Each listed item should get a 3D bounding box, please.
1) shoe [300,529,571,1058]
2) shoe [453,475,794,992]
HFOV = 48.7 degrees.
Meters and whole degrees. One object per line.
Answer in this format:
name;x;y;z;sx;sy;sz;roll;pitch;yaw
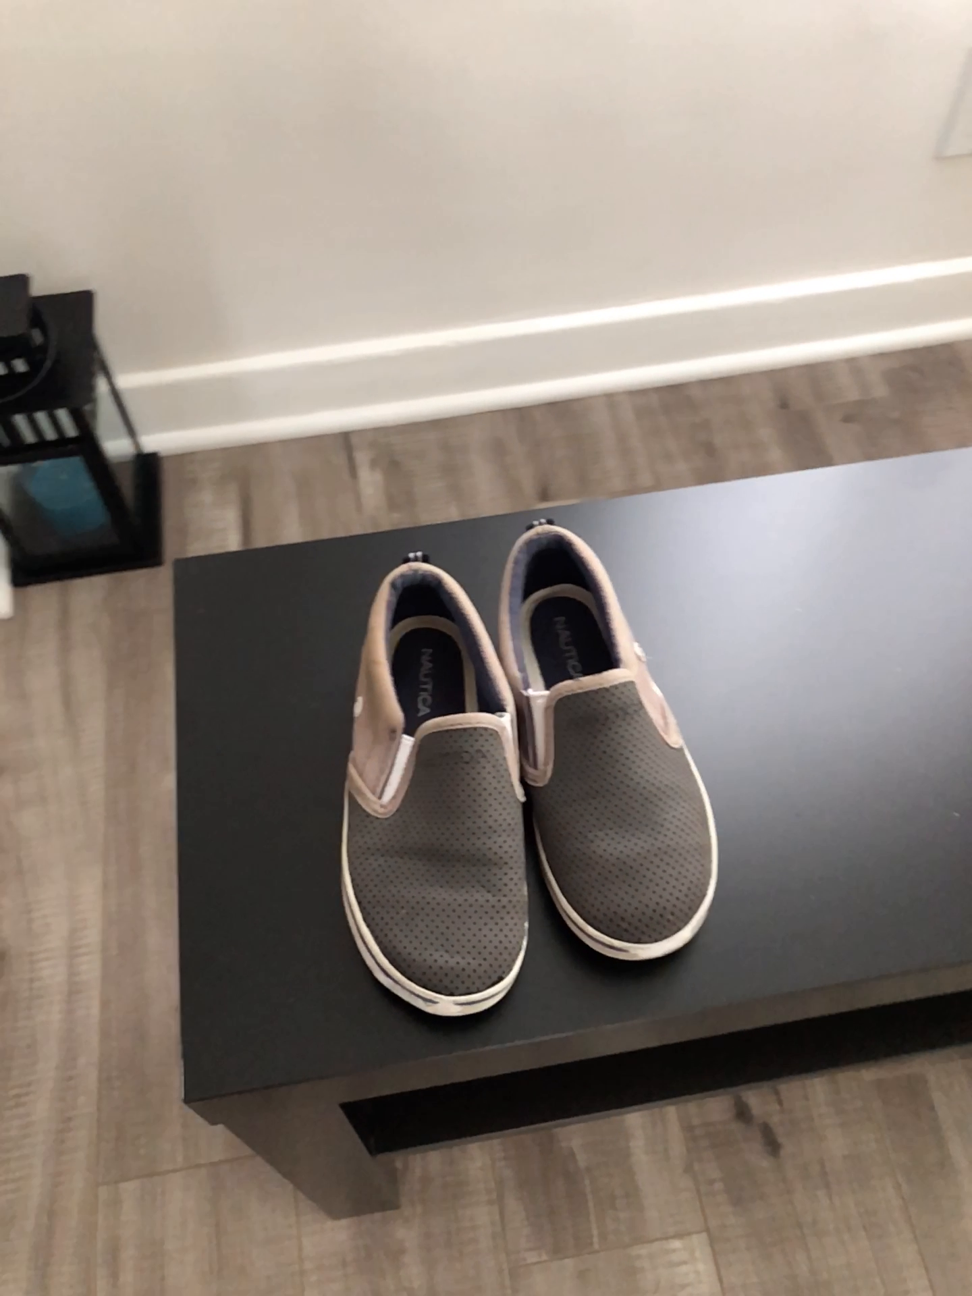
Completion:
shoe;-0.024;0.053;0.433;0.077;0.070;0.190;-8;58;-4
shoe;0.046;0.029;0.444;0.077;0.070;0.190;-12;58;-6
